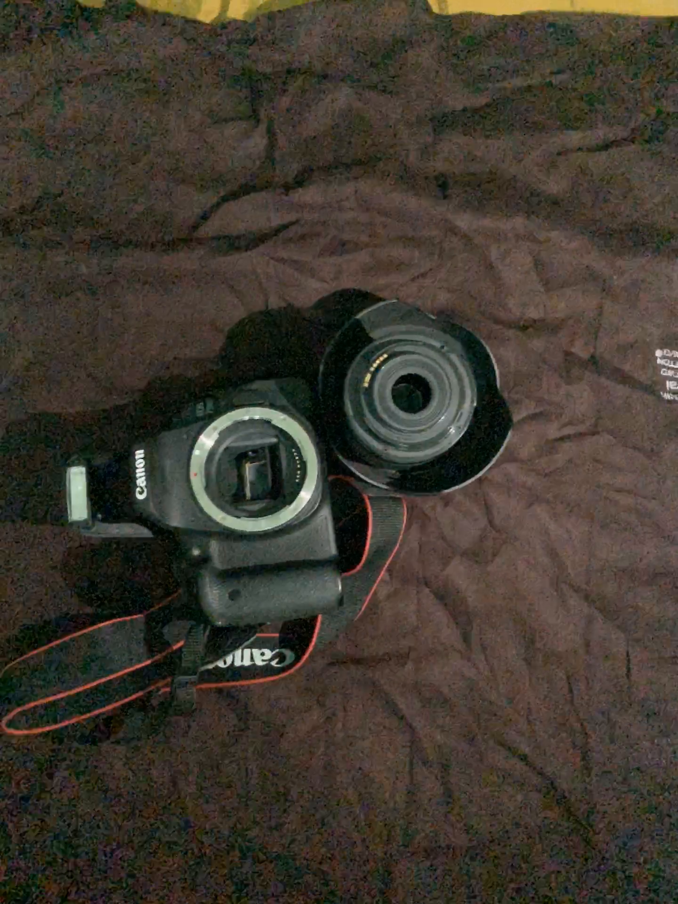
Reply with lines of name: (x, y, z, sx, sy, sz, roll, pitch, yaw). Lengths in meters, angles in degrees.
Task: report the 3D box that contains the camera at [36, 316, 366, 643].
camera: (-0.075, 0.018, 0.390, 0.150, 0.083, 0.147, -8, 73, -6)
